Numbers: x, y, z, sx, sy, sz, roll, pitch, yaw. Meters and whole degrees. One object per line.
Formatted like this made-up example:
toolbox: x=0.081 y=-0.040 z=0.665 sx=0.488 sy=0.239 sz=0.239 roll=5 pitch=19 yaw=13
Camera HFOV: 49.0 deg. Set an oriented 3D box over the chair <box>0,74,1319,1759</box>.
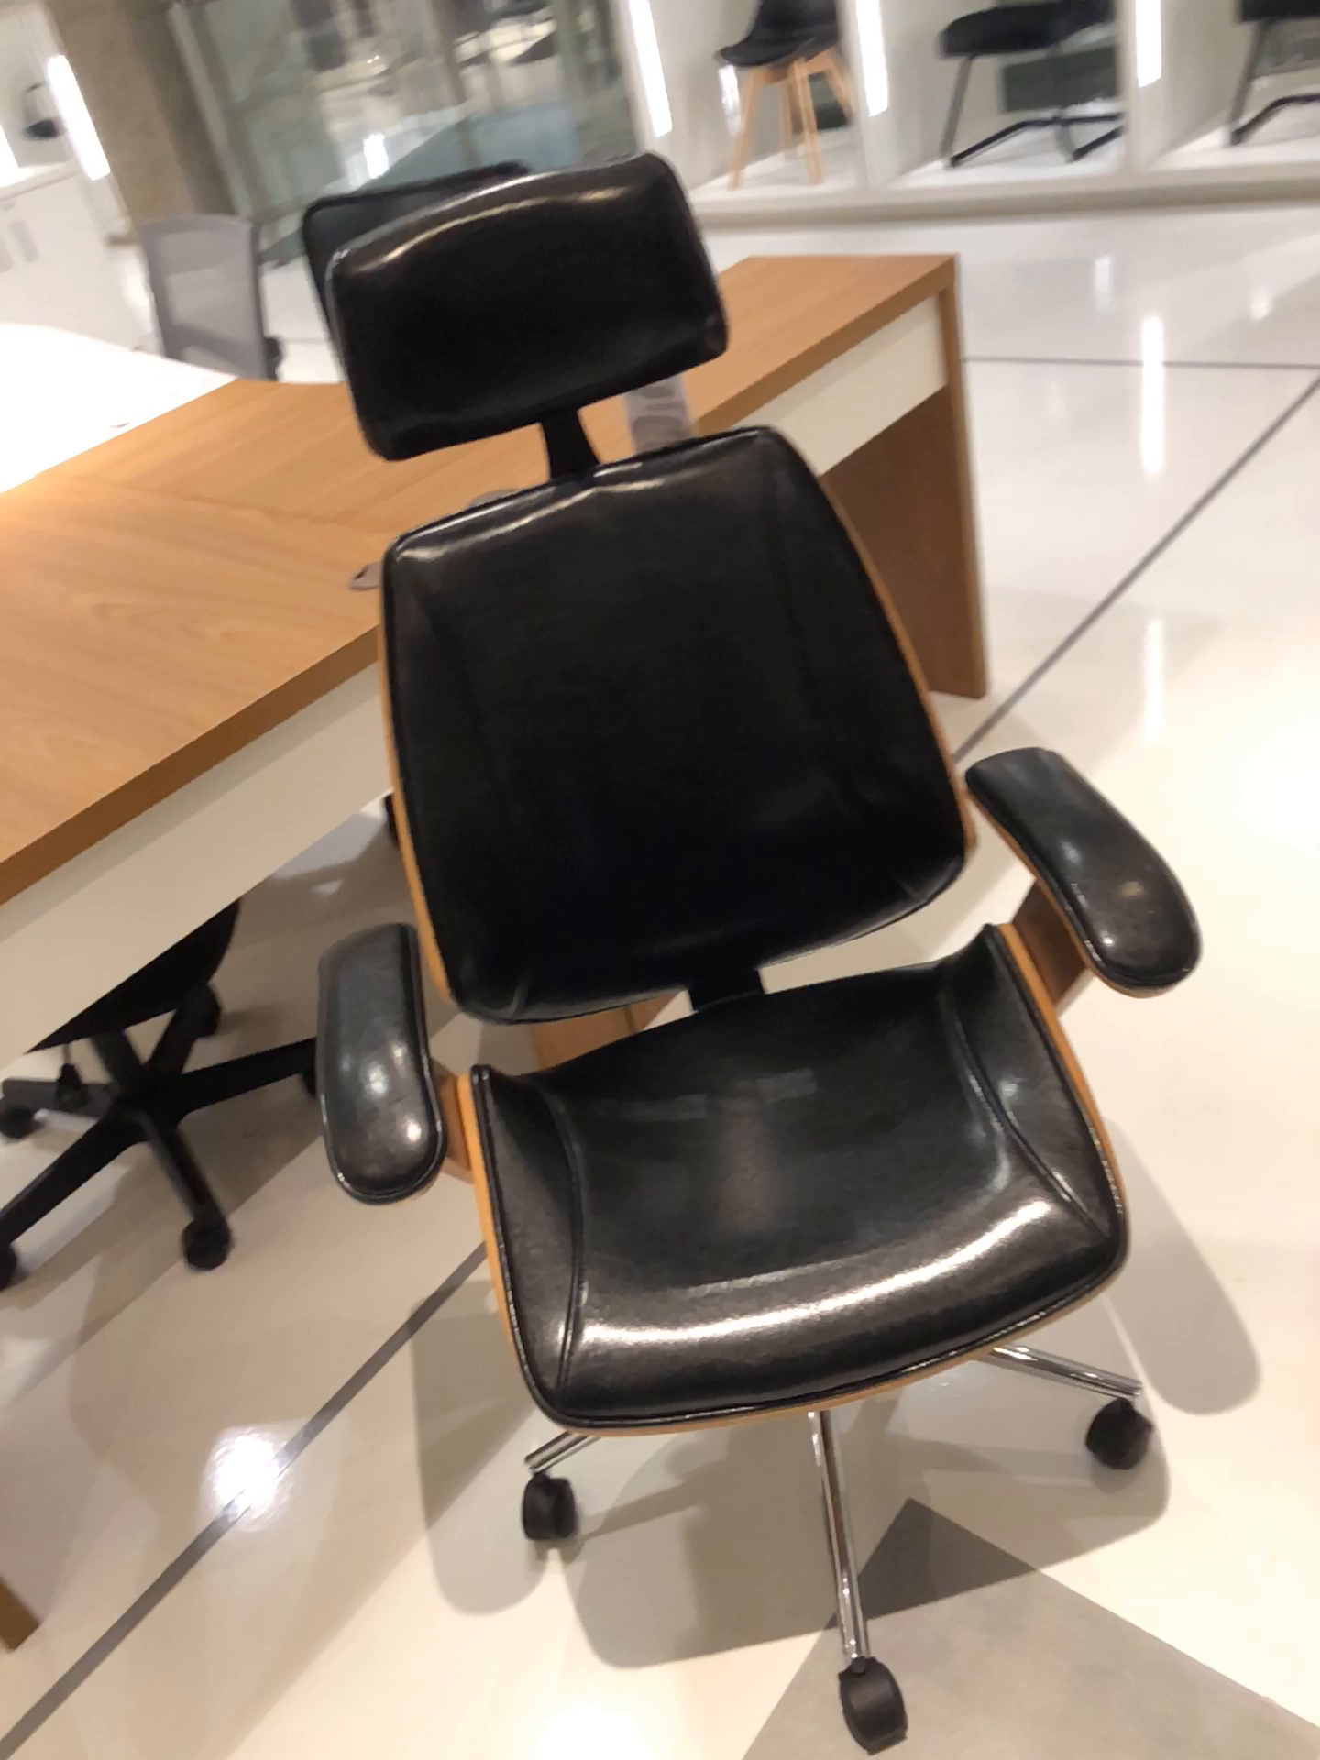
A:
chair: x=0.056 y=0.068 z=1.200 sx=0.720 sy=1.101 sz=0.766 roll=-17 pitch=35 yaw=-4
